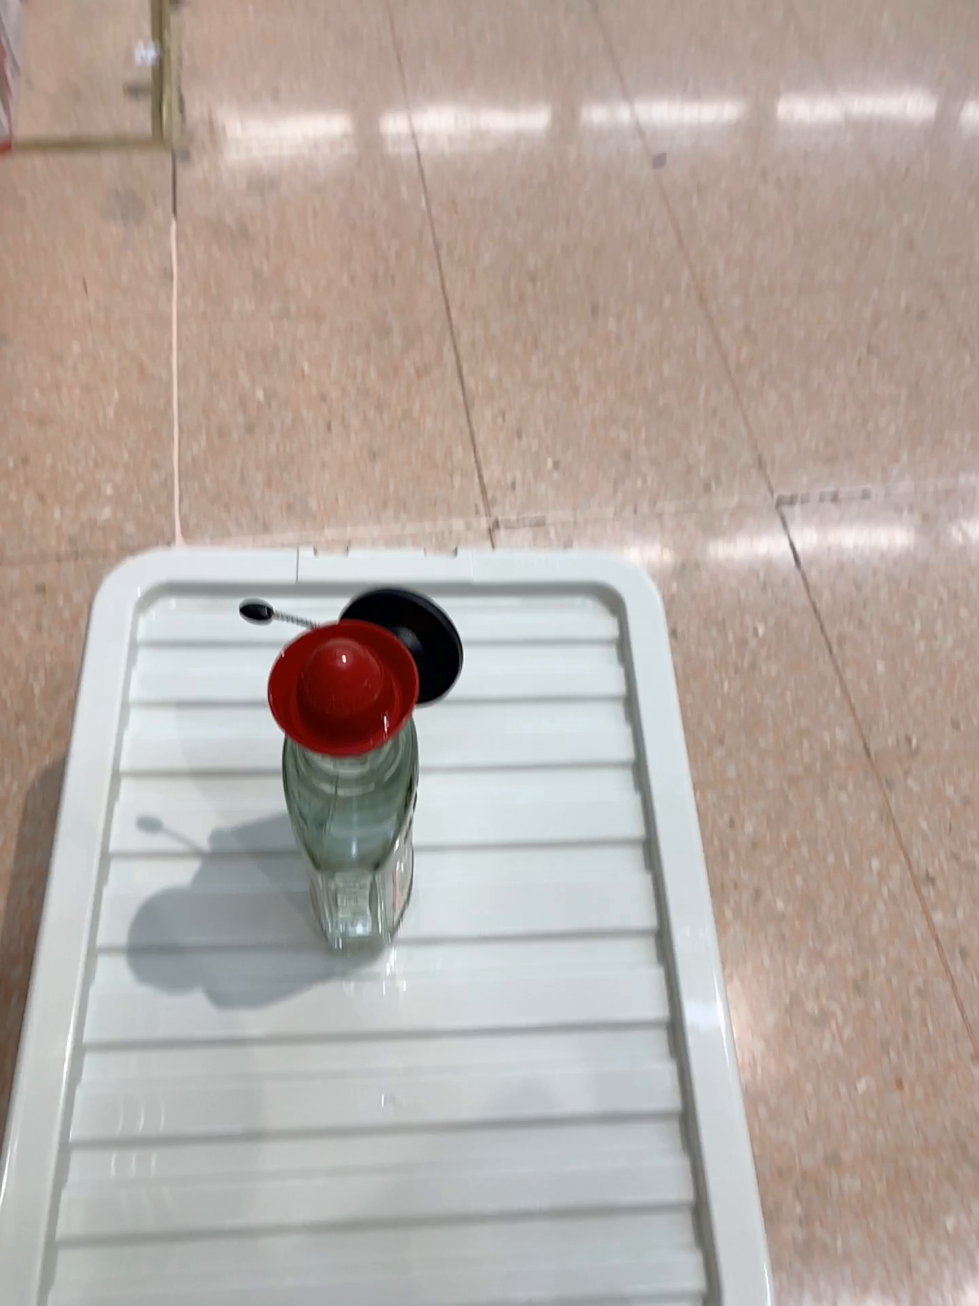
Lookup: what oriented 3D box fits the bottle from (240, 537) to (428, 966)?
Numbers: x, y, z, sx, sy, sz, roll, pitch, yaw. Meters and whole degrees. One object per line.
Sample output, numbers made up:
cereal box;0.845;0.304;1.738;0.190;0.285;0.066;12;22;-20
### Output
bottle;-0.059;0.061;0.447;0.058;0.240;0.104;1;61;-4
